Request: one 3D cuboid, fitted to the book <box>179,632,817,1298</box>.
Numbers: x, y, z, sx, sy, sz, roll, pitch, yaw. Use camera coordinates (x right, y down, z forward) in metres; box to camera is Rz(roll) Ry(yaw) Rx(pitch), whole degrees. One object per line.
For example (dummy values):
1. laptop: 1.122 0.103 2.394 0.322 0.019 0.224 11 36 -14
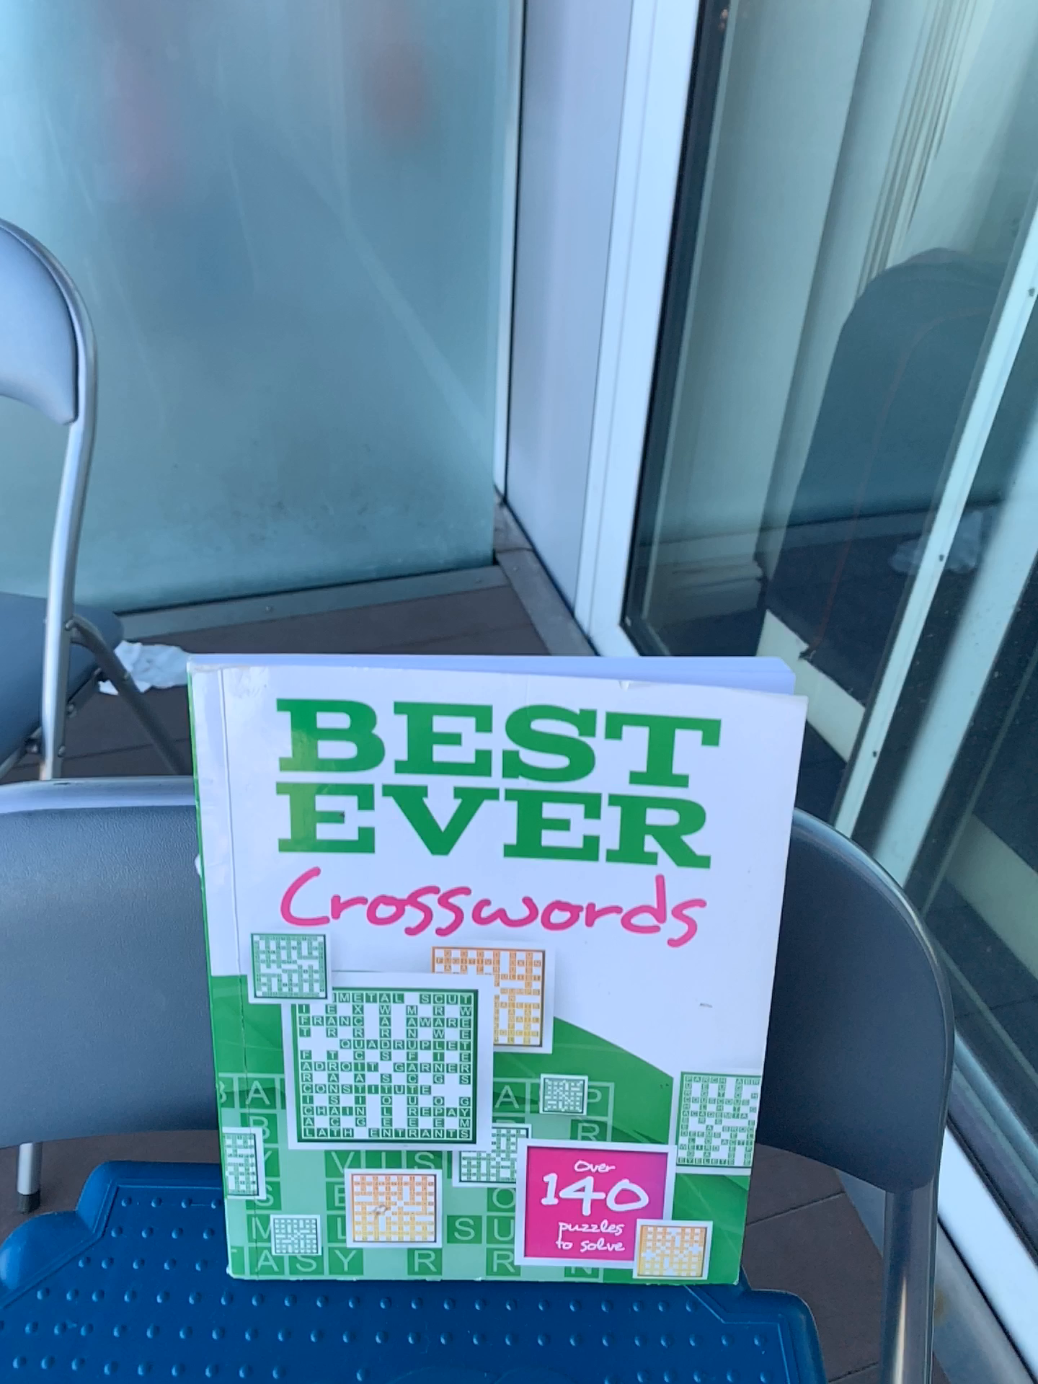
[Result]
1. book: -0.008 0.083 0.306 0.157 0.196 0.030 1 17 -3
